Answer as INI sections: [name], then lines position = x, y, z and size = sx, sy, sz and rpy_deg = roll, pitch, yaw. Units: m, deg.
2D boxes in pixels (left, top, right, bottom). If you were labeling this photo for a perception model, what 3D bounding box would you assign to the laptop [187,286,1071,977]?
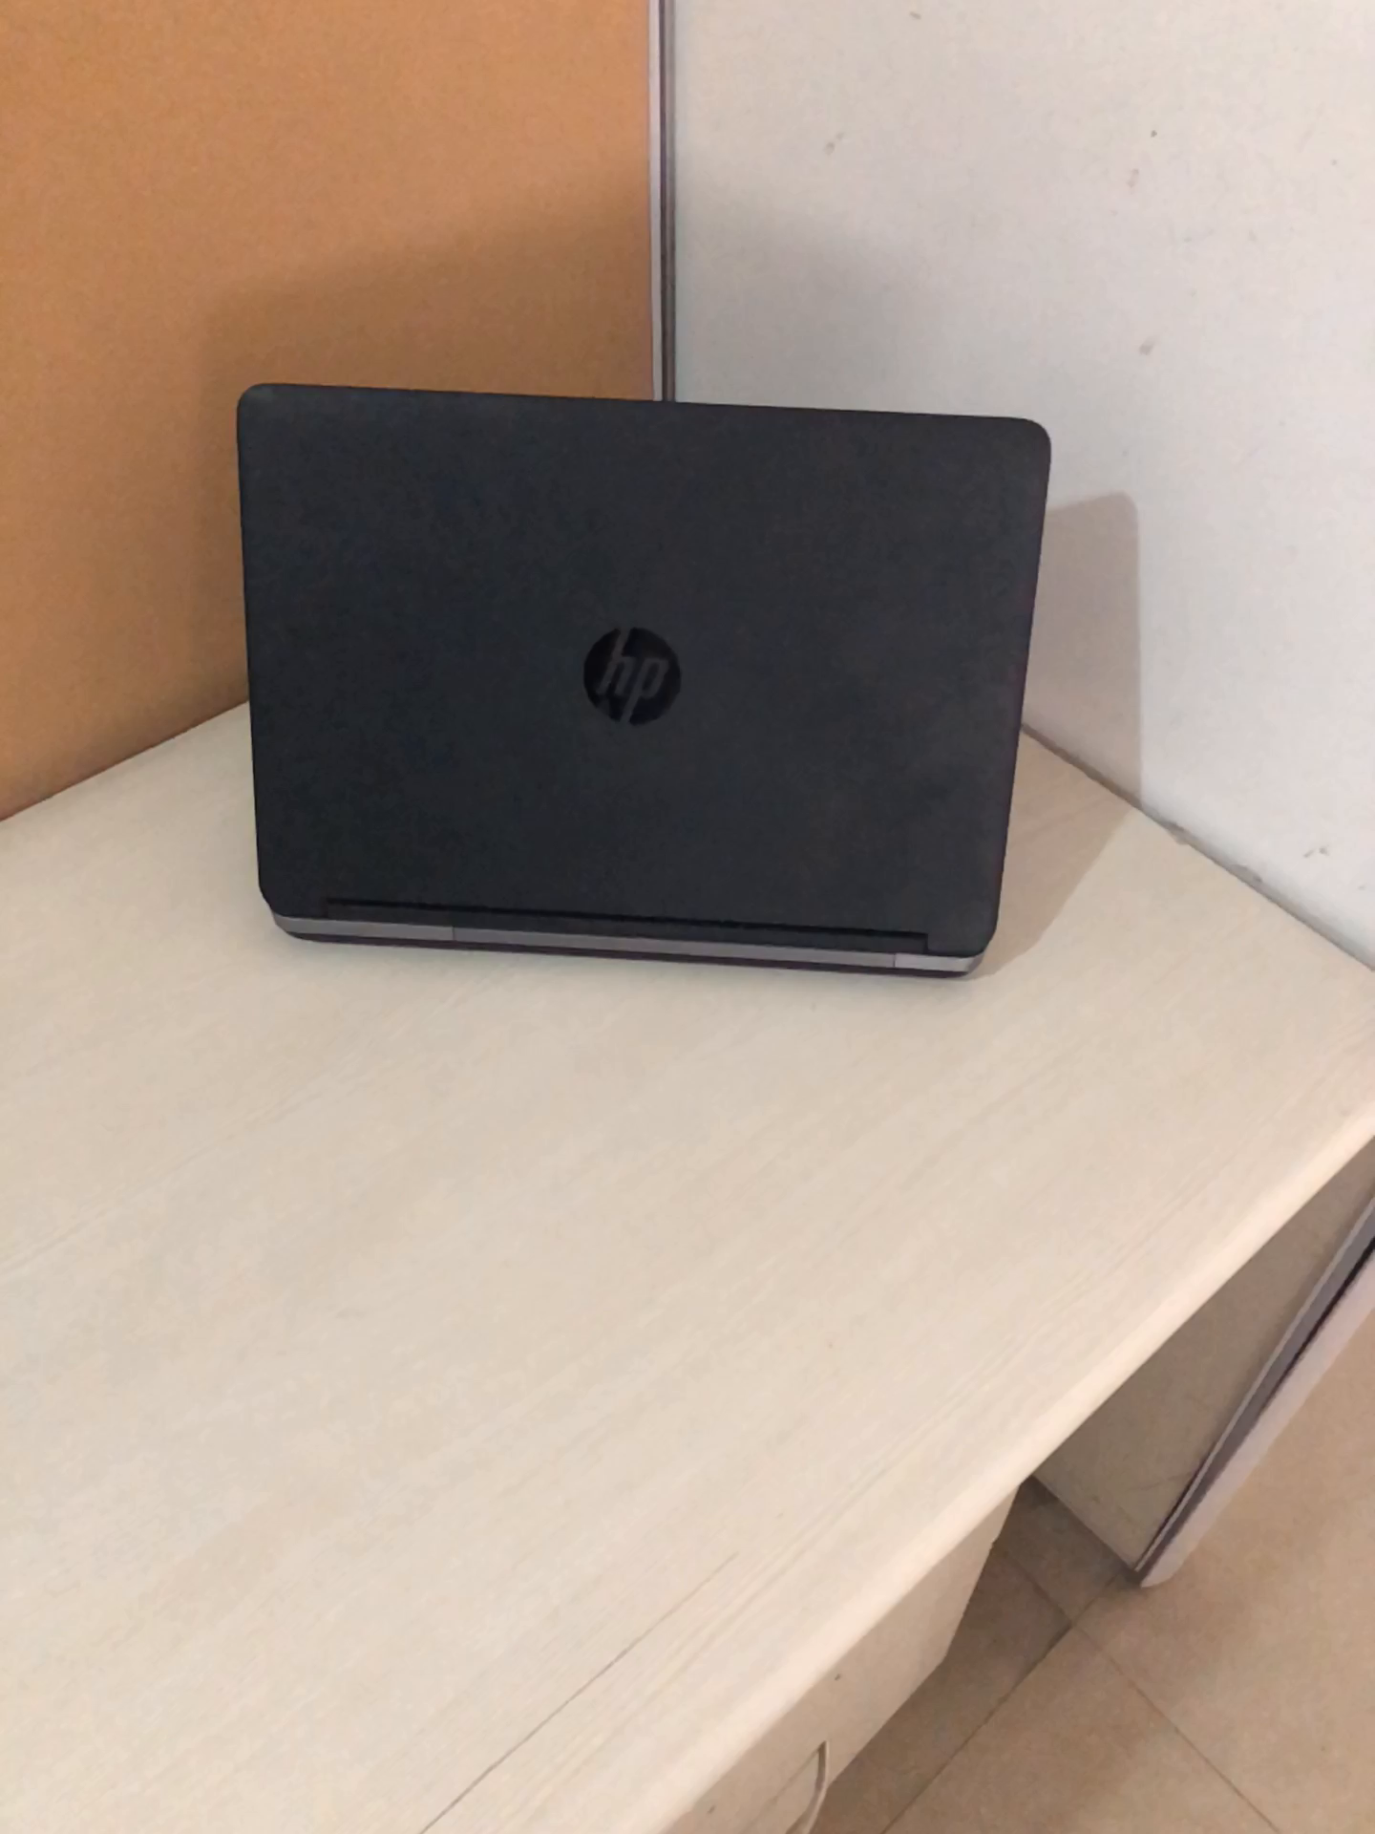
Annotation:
[laptop]
position = -0.018, -0.133, 0.690
size = 0.318, 0.192, 0.229
rpy_deg = 3, 48, 1
